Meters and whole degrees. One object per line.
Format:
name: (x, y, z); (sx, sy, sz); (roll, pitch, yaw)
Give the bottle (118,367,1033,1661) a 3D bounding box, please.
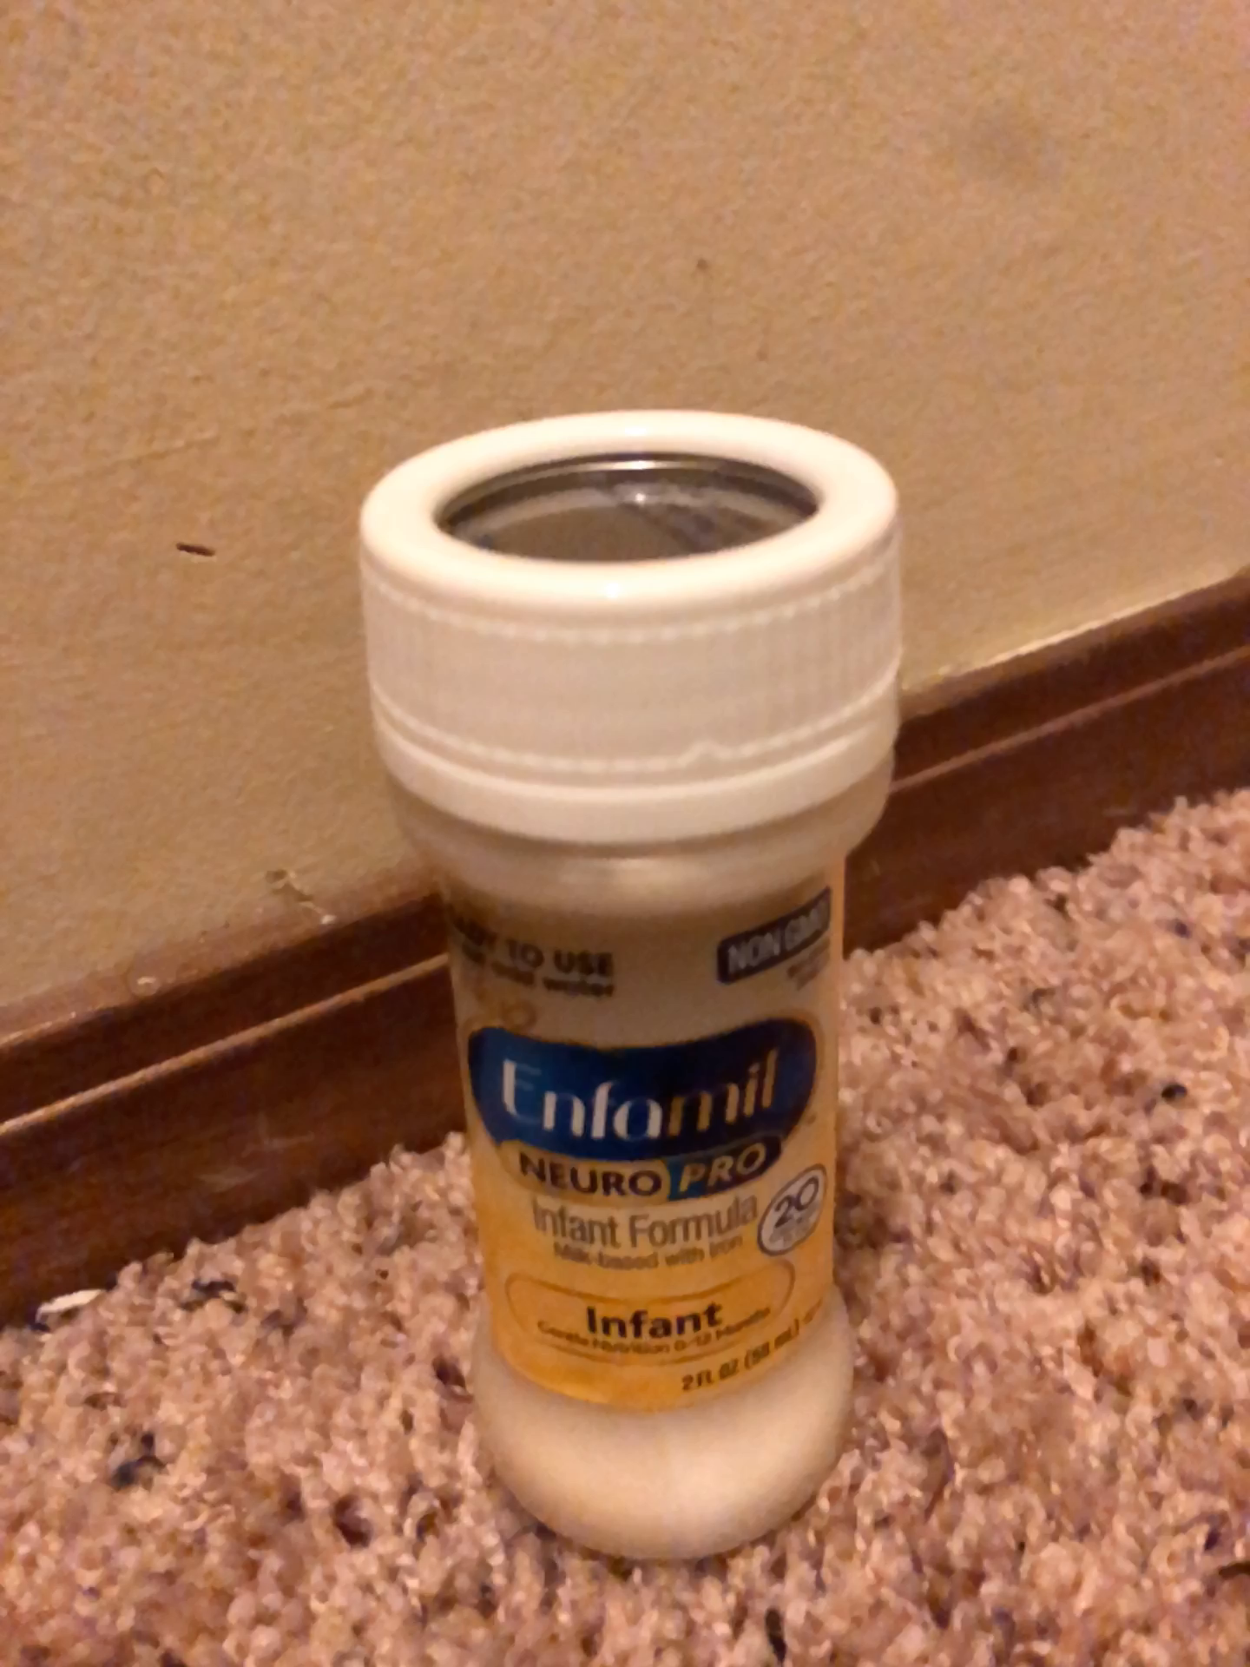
bottle: (0.000, 0.021, 0.128); (0.050, 0.110, 0.050); (-2, 34, 1)
